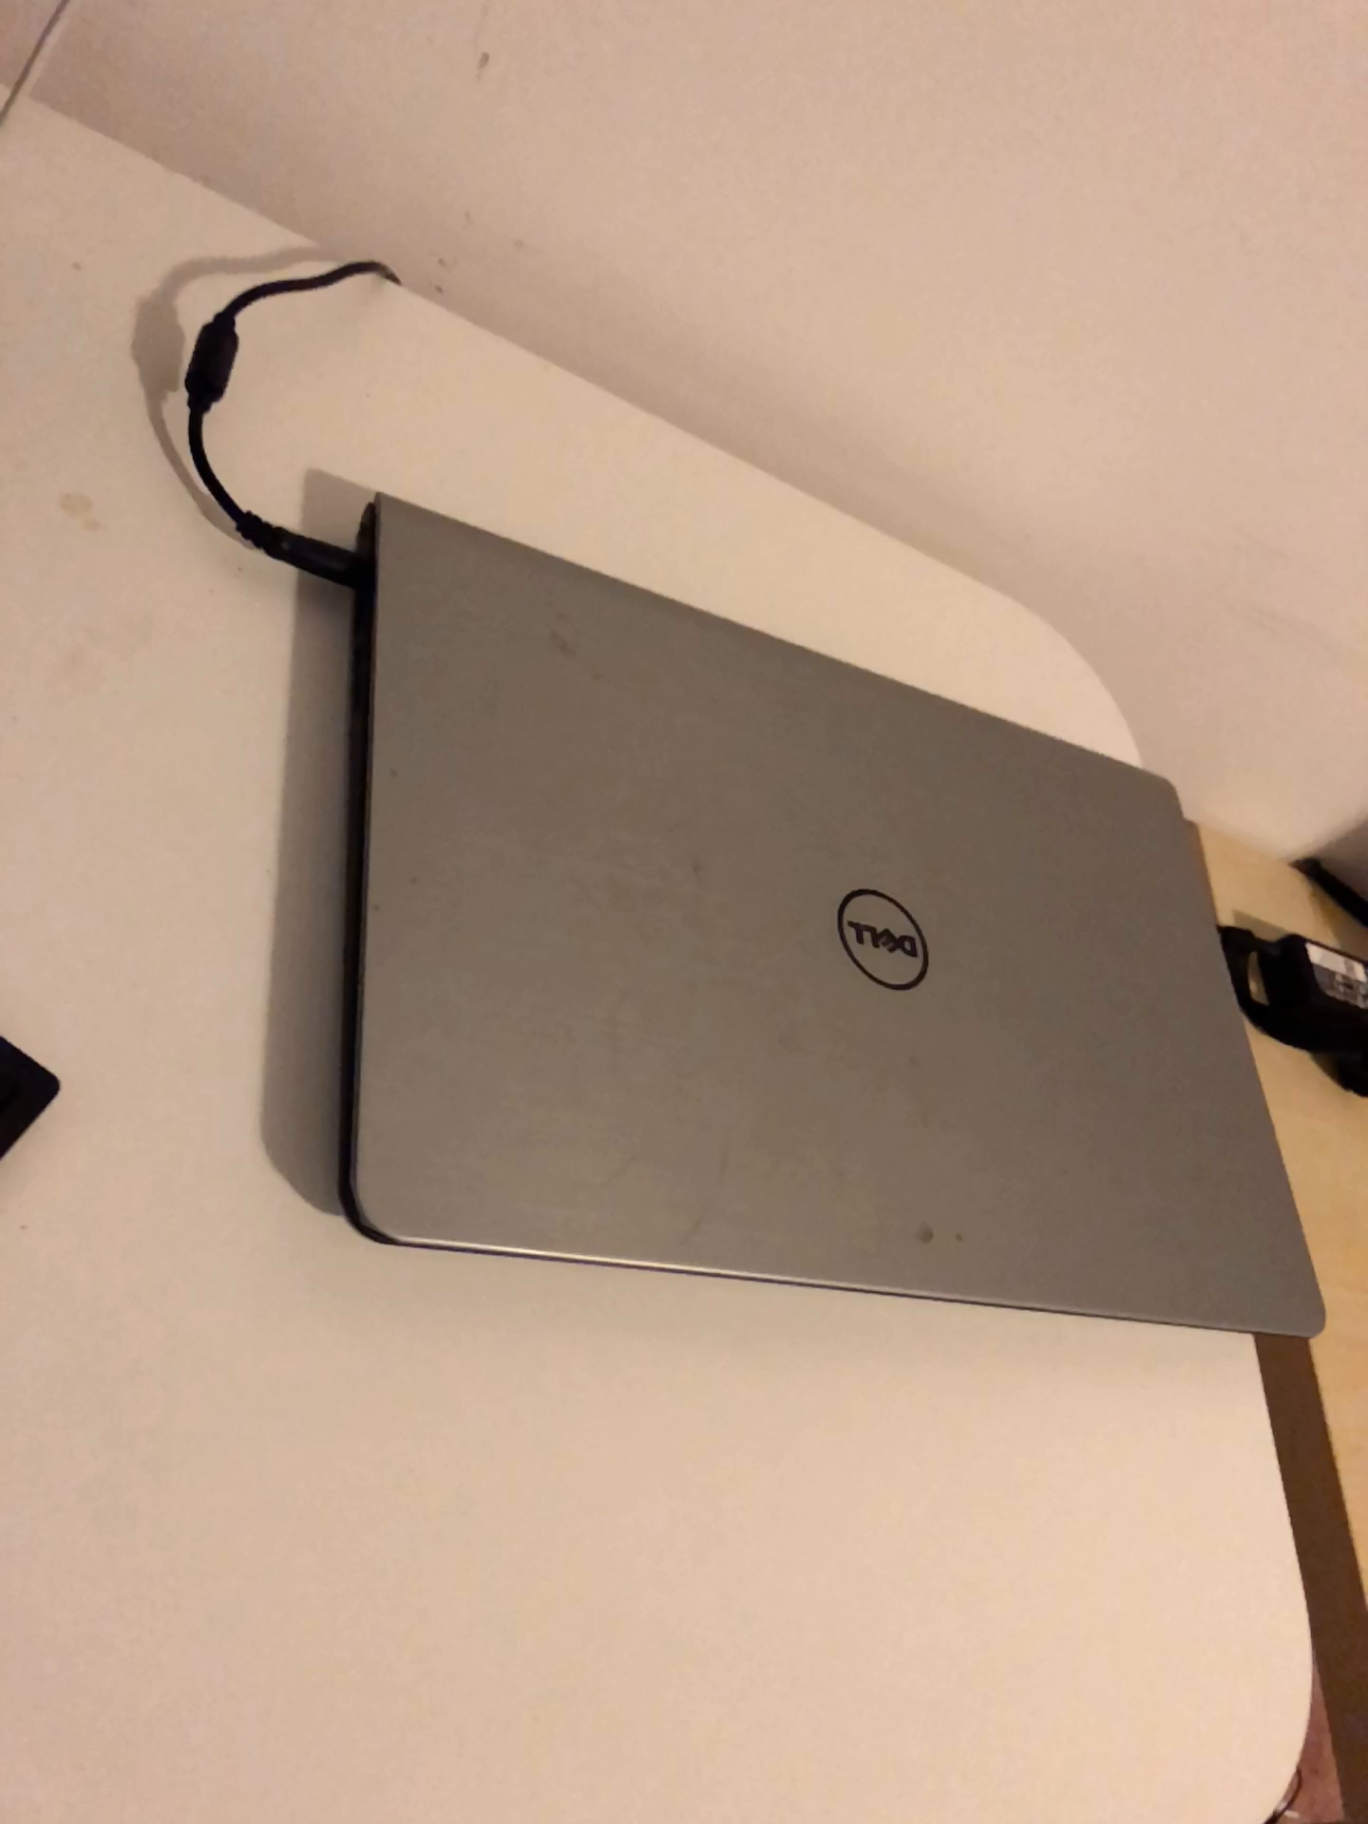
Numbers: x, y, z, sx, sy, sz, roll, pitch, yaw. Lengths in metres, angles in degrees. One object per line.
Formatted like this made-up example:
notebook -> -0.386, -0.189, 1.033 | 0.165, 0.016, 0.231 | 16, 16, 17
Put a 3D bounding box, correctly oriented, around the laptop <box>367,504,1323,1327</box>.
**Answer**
laptop -> 0.069, 0.008, 0.536 | 0.372, 0.001, 0.247 | 14, 55, -28
